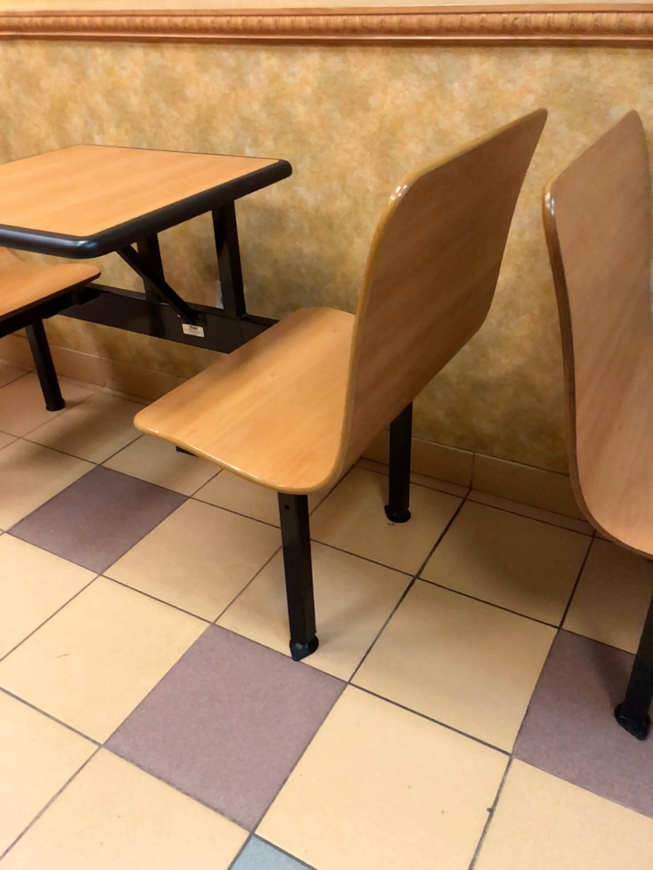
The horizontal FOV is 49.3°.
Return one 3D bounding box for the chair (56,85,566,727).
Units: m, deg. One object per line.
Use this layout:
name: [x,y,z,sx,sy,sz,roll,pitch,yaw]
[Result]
chair: [0.031,-0.103,1.294,0.511,0.885,0.633,16,36,26]
